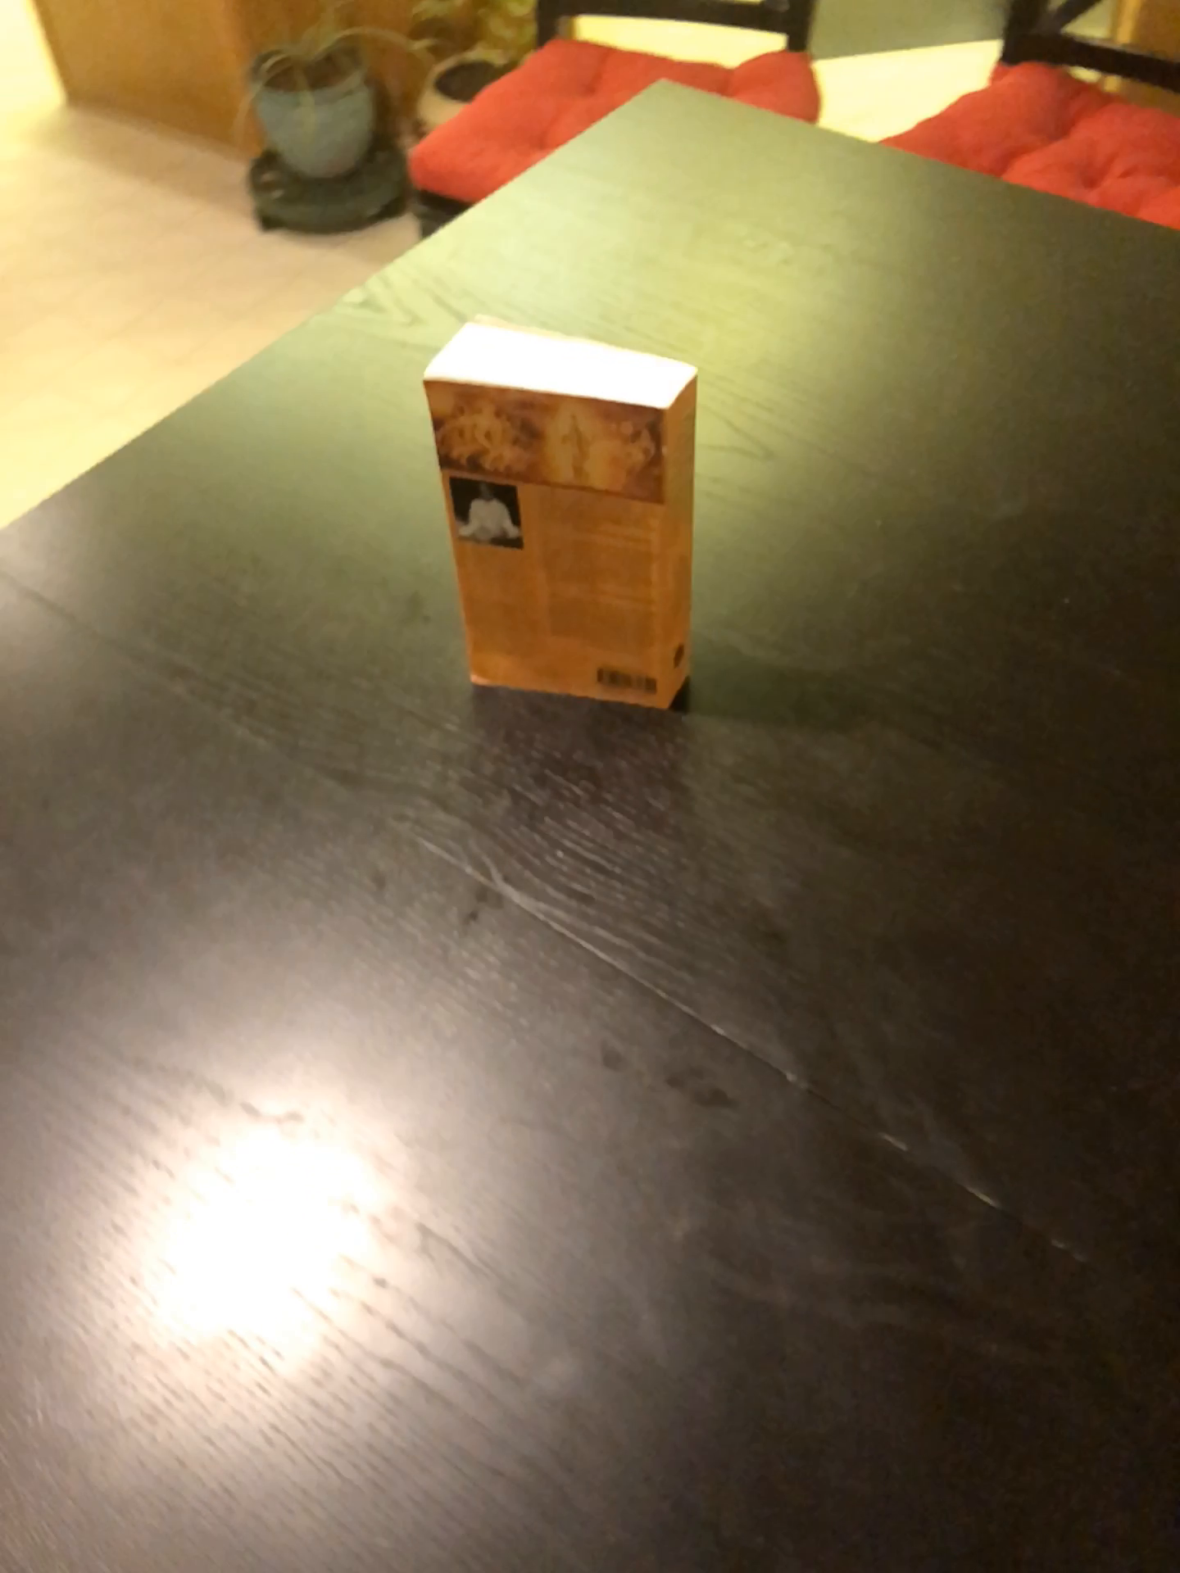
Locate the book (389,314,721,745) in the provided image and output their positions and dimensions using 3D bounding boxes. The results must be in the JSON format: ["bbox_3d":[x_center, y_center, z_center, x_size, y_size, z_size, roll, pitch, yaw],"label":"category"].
[{"bbox_3d":[-0.011,-0.115,0.613,0.126,0.174,0.059,18,54,17],"label":"book"}]
